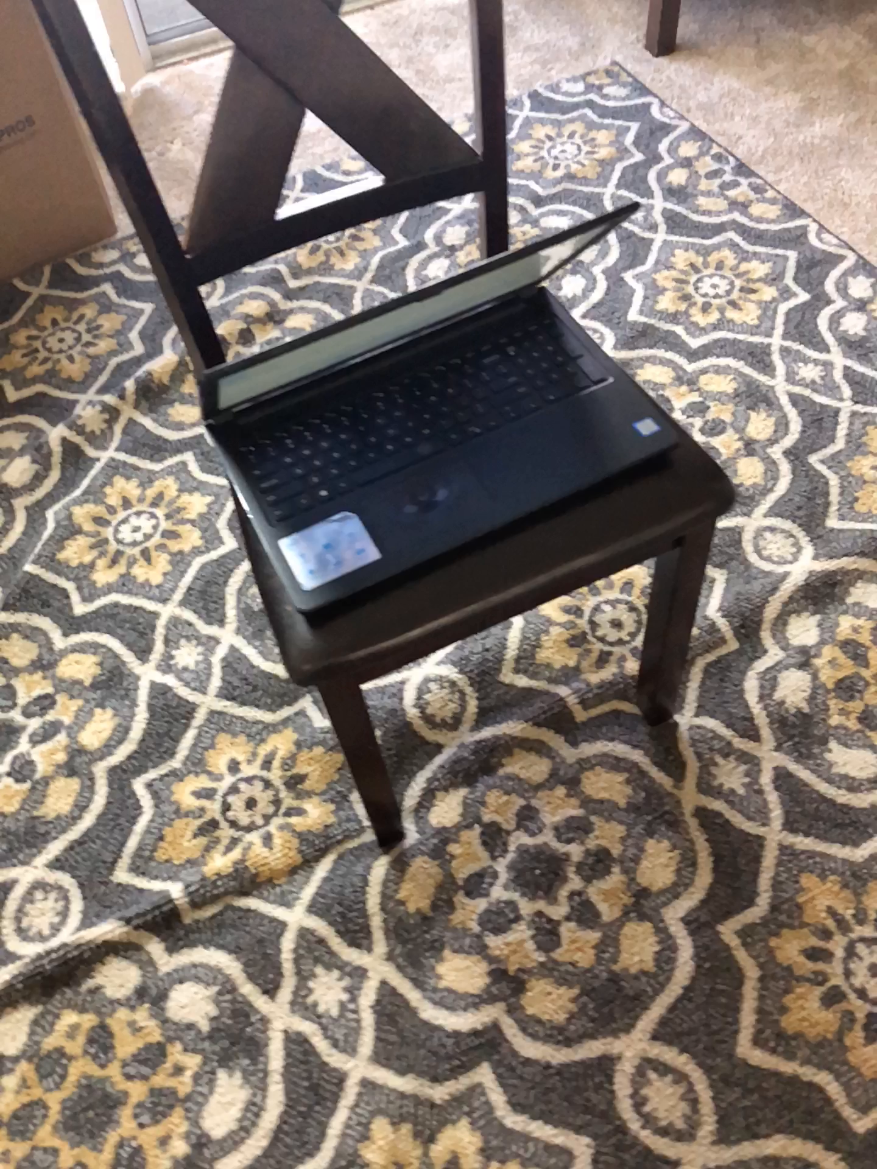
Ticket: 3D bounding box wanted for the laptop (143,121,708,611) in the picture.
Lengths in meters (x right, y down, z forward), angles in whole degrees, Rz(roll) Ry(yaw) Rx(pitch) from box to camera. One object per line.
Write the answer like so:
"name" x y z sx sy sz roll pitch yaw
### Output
"laptop" -0.011 -0.194 0.820 0.366 0.185 0.245 -25 56 -13
